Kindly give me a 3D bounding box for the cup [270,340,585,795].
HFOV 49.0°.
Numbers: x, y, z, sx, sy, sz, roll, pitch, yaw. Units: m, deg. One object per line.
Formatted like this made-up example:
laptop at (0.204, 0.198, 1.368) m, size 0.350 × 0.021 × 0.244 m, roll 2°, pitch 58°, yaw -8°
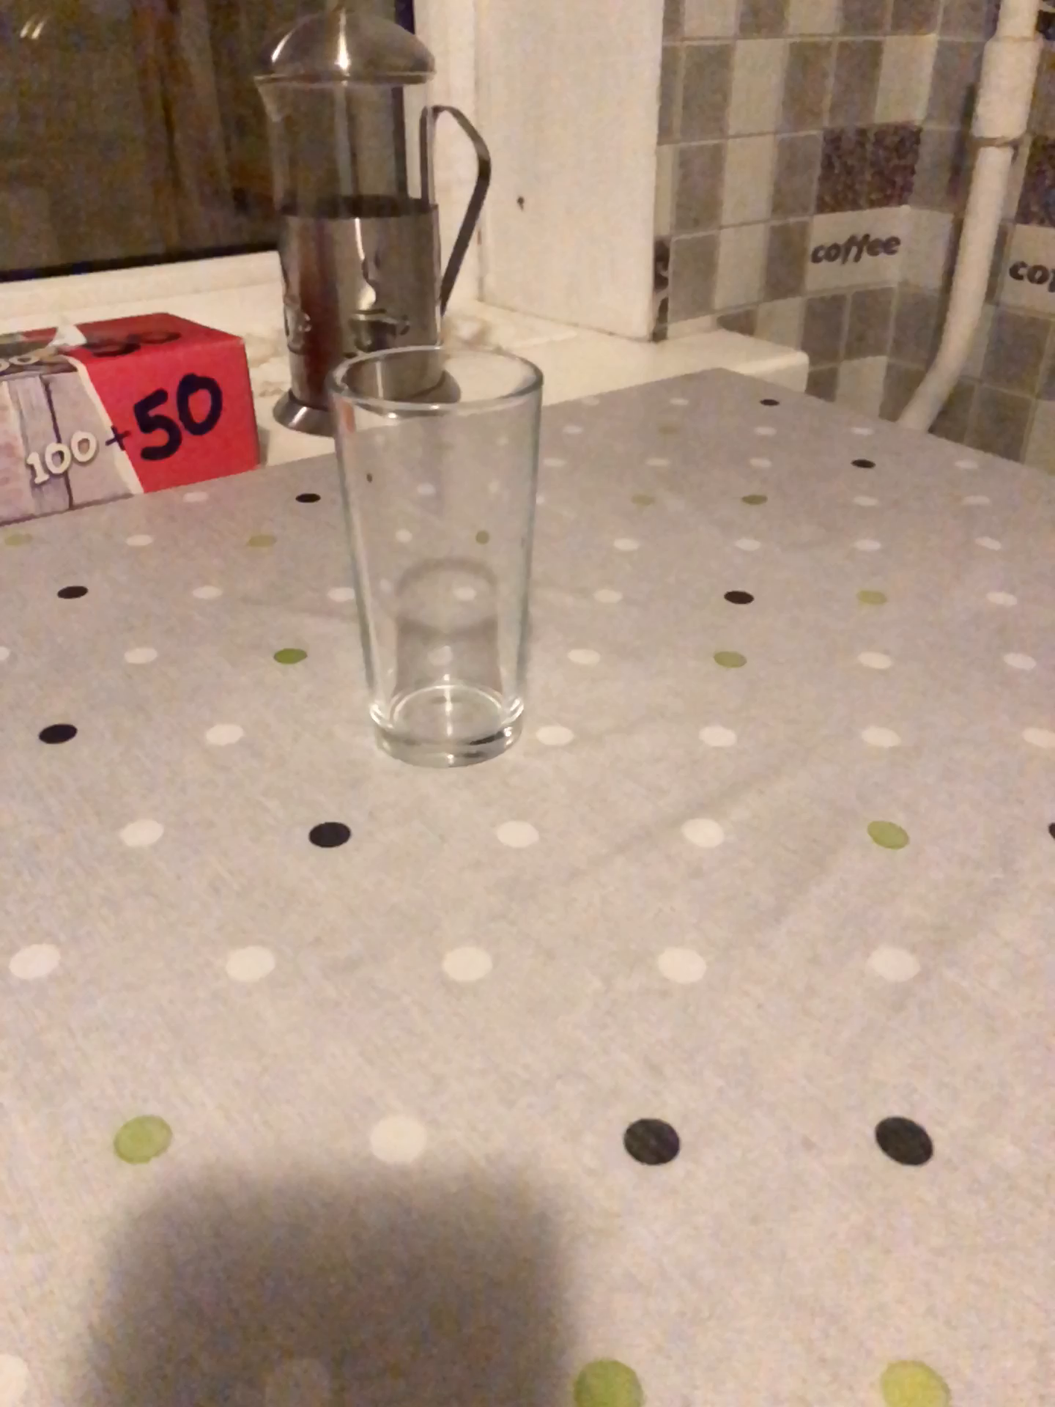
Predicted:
cup at (-0.031, -0.047, 0.377) m, size 0.068 × 0.117 × 0.069 m, roll 0°, pitch 31°, yaw 0°
